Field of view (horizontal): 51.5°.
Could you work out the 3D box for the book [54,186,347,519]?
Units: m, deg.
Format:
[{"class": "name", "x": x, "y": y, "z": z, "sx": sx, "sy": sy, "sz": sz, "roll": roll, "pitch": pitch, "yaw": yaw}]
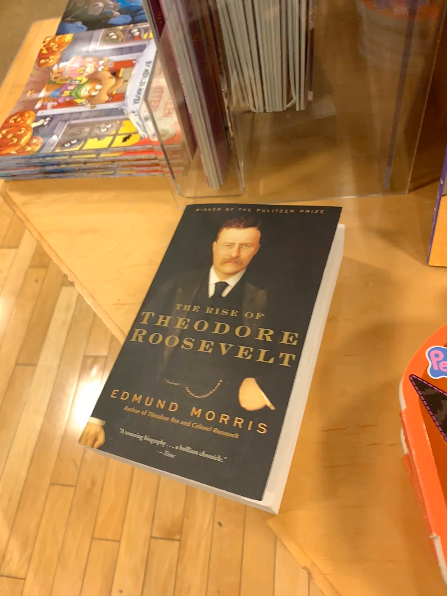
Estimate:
[{"class": "book", "x": -0.002, "y": 0.025, "z": 0.321, "sx": 0.130, "sy": 0.066, "sz": 0.195, "roll": 12, "pitch": 63, "yaw": 19}]
